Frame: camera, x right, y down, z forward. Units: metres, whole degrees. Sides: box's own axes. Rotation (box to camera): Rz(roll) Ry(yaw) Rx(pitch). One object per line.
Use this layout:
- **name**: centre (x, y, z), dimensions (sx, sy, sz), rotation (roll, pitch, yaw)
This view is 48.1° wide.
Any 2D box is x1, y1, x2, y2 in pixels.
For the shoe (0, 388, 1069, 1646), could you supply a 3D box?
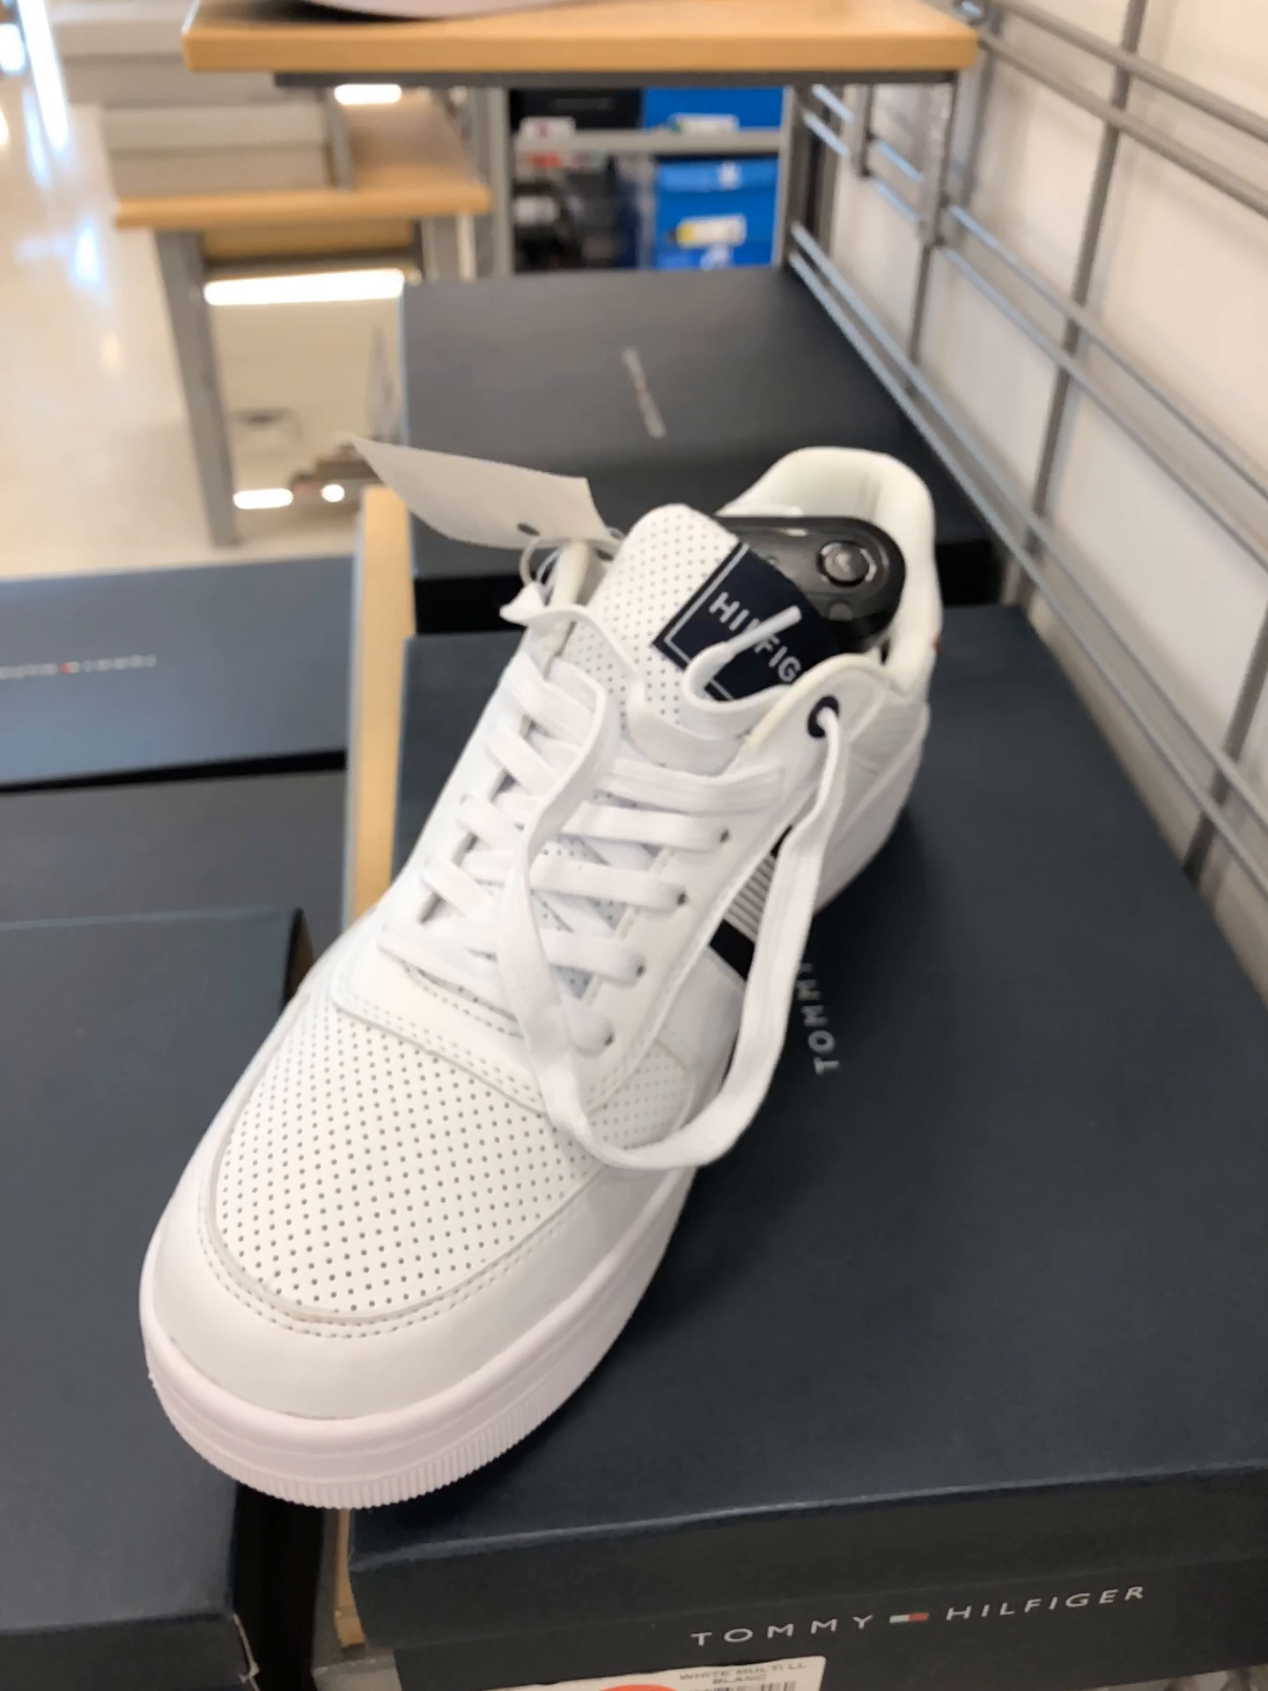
- **shoe**: centre (-0.005, 0.003, 0.331), dimensions (0.110, 0.109, 0.282), rotation (20, 43, 22)
